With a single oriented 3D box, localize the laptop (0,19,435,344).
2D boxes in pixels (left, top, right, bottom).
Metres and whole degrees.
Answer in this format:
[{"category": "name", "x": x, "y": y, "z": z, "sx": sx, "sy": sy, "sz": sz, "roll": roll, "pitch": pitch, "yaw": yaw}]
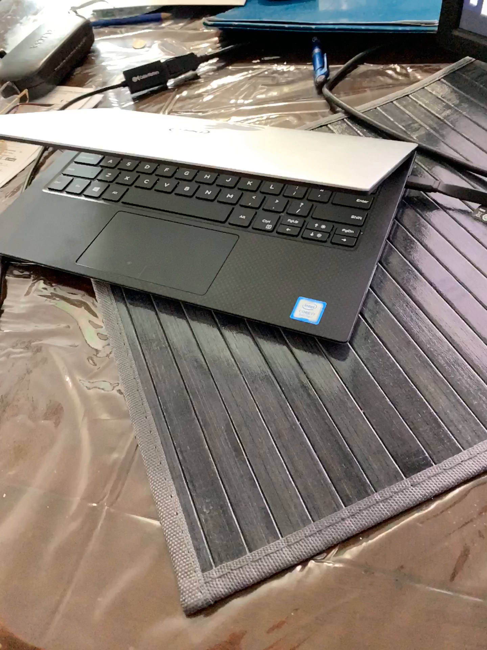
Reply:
[{"category": "laptop", "x": -0.043, "y": -0.121, "z": 0.346, "sx": 0.290, "sy": 0.085, "sz": 0.185, "roll": 15, "pitch": 55, "yaw": 20}]
